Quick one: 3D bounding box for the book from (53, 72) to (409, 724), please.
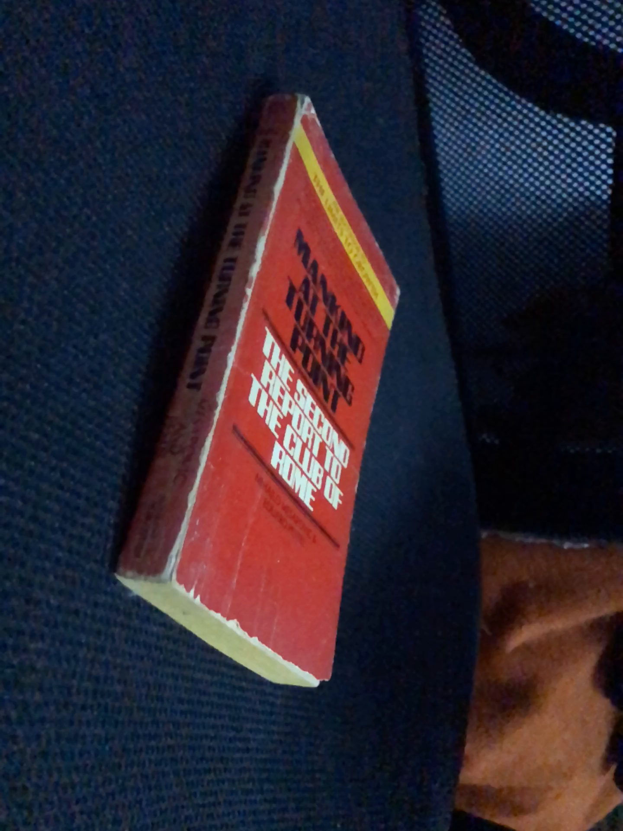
[{"bbox_3d":[-0.007,-0.006,0.247,0.117,0.025,0.194,53,42,-50],"label":"book"}]
